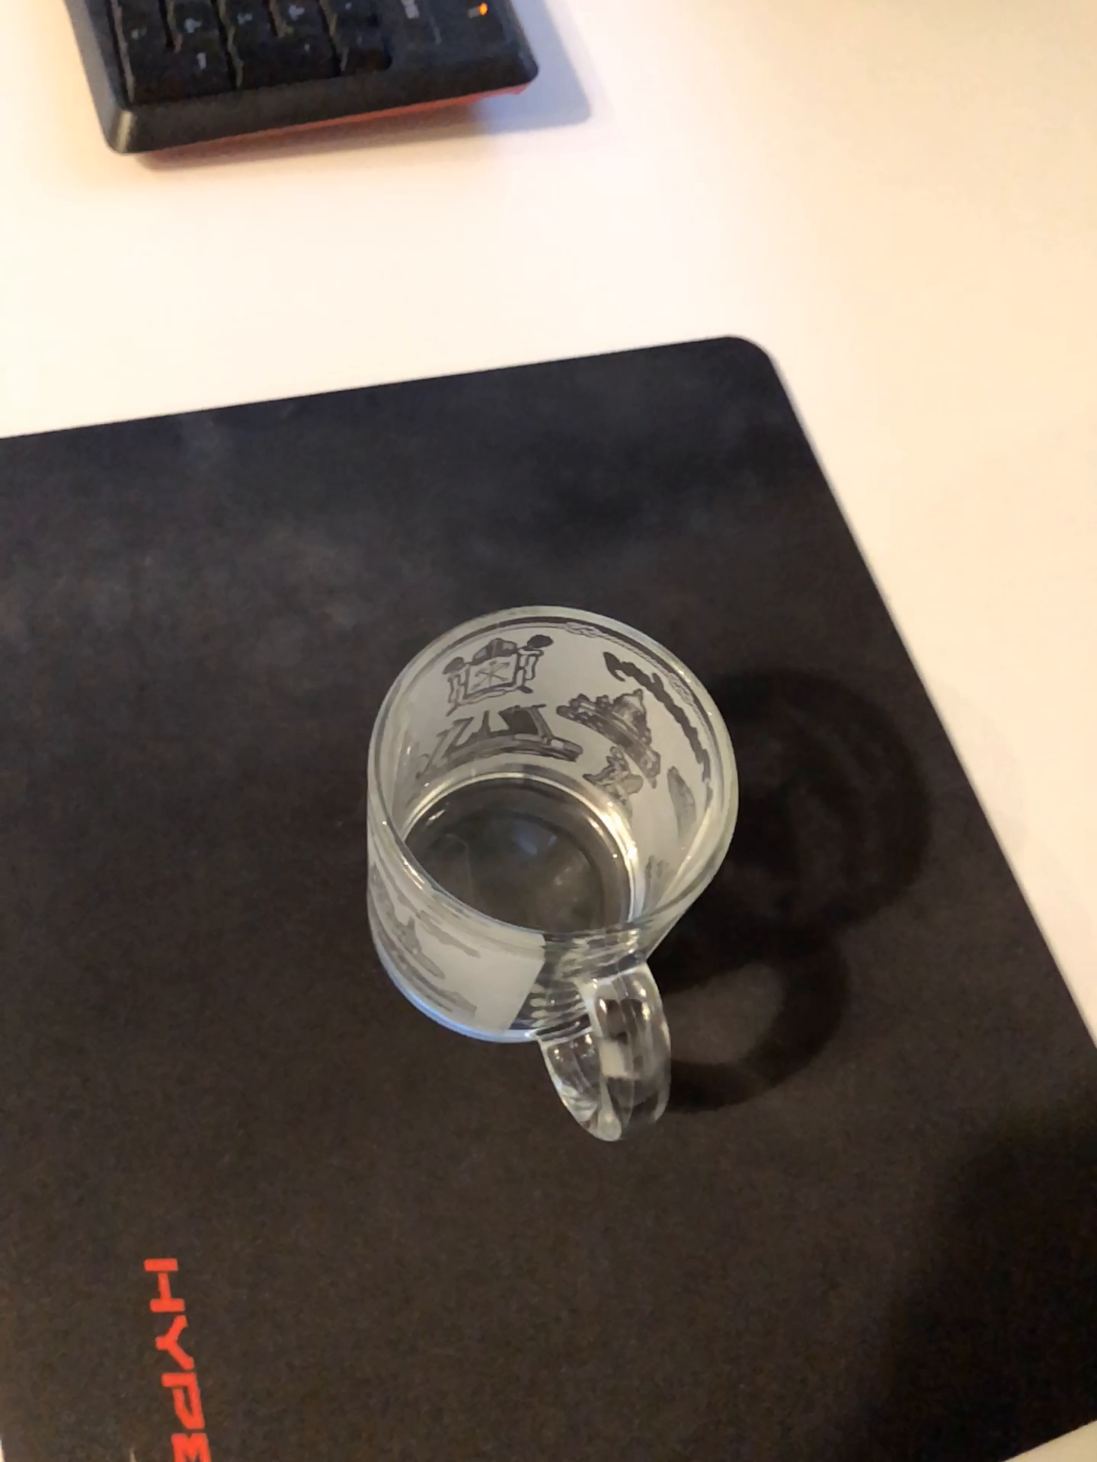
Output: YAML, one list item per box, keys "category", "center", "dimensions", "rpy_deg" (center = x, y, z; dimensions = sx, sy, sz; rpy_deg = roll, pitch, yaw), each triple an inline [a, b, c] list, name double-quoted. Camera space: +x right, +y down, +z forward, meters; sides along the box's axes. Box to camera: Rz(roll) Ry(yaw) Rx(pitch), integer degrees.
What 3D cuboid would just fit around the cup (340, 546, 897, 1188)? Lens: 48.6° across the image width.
- category: "cup"
  center: [0.006, 0.038, 0.307]
  dimensions: [0.090, 0.107, 0.116]
  rpy_deg: [-12, 67, -13]
